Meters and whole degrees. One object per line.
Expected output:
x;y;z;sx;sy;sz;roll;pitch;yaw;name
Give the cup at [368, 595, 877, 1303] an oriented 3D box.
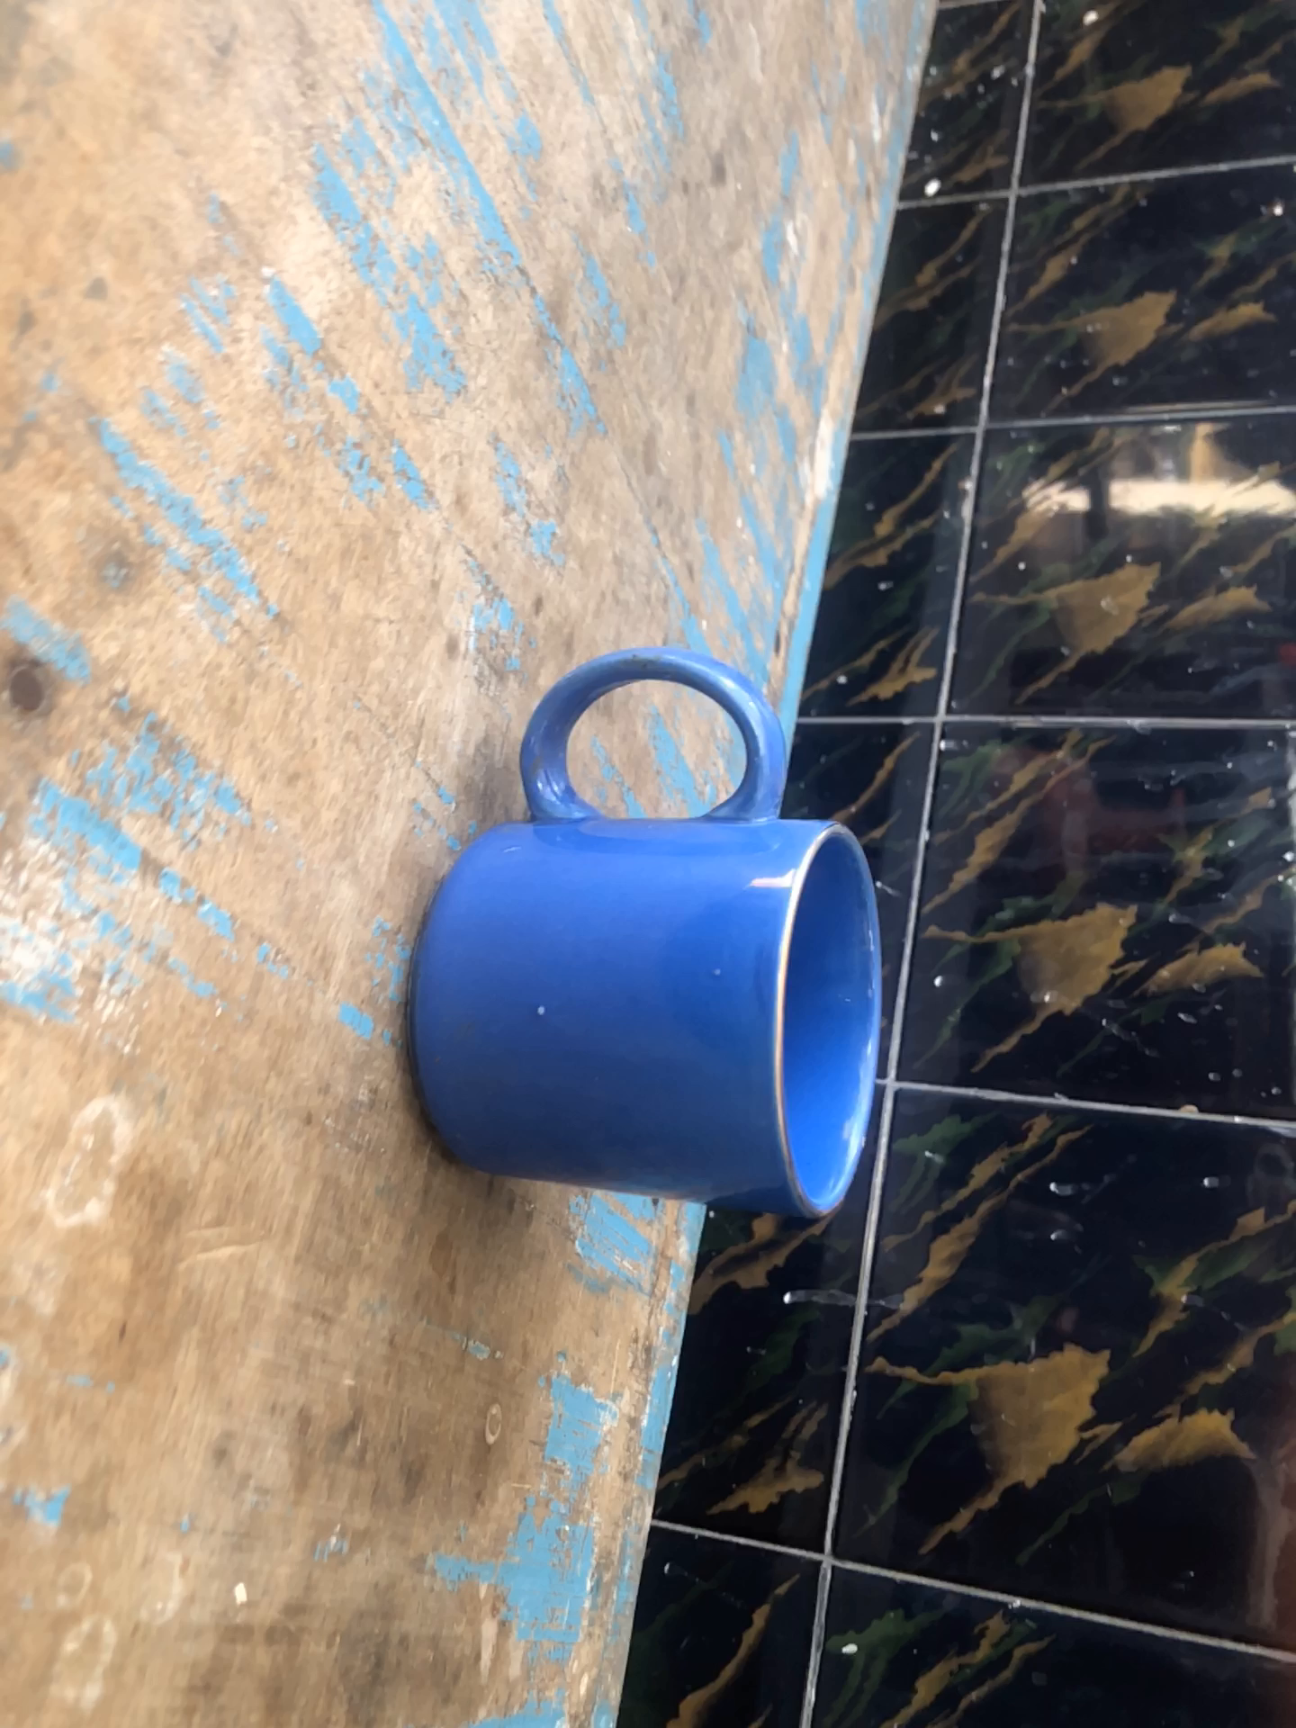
0.000;0.010;0.266;0.070;0.070;0.110;-18;108;-68;cup
